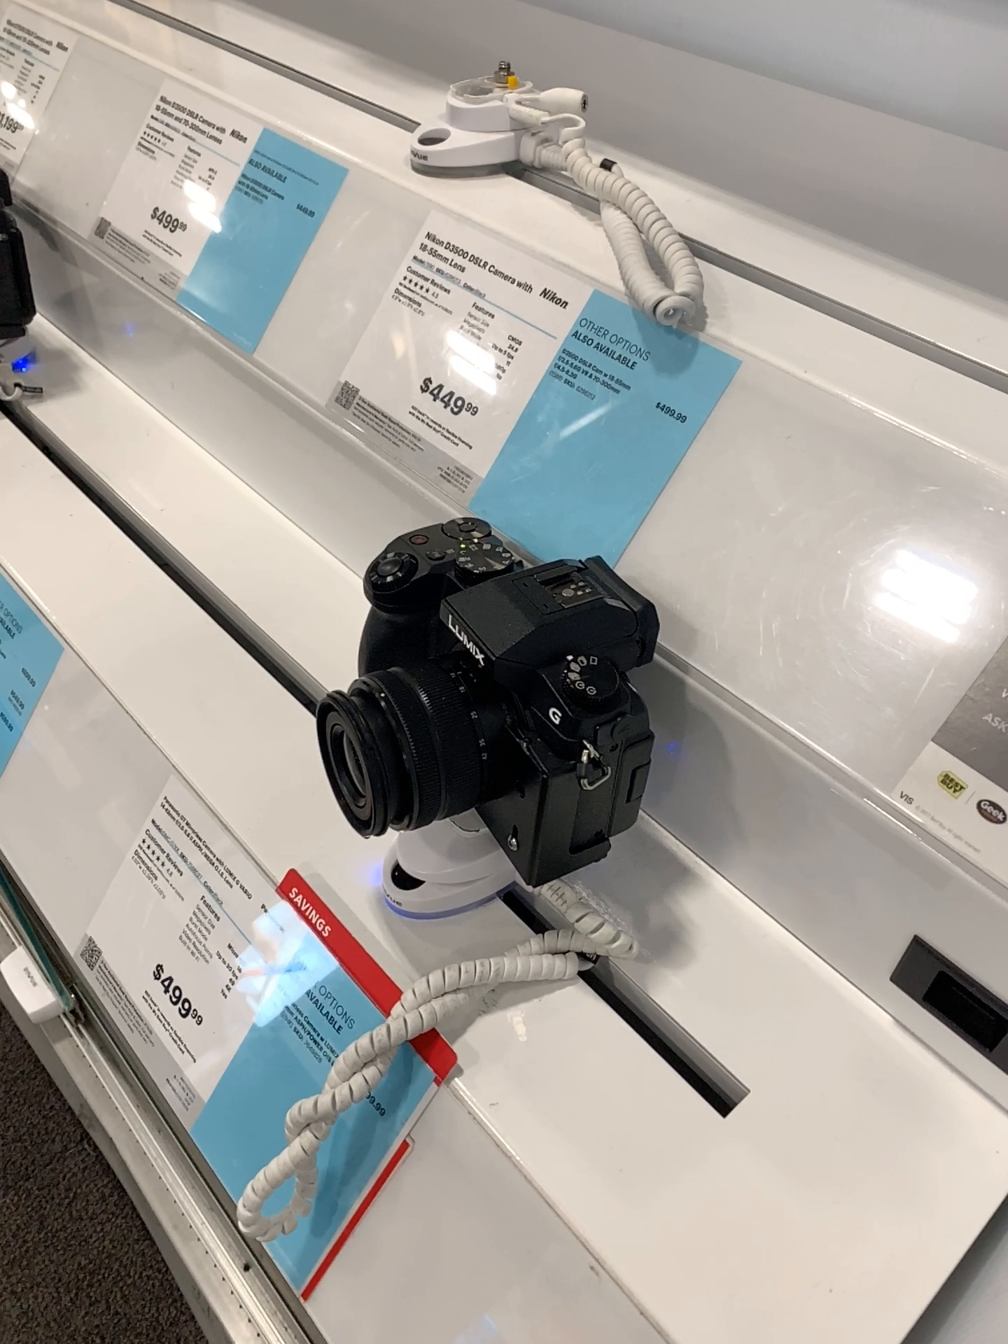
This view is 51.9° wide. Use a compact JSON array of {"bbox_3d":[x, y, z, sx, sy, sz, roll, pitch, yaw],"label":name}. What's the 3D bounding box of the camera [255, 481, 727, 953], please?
[{"bbox_3d":[-0.009,0.009,0.375,0.114,0.080,0.119,-21,49,-23],"label":"camera"}]
